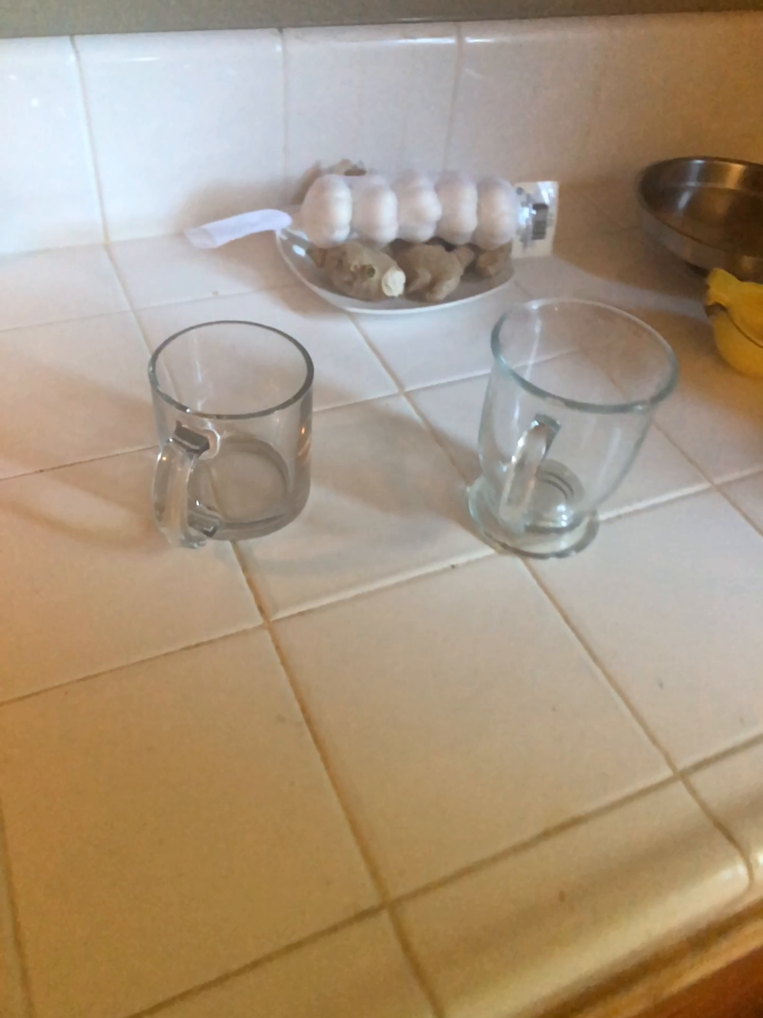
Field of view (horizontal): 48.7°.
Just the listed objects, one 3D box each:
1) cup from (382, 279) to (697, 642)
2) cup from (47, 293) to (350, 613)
[{"bbox_3d":[0.081,-0.029,0.452,0.090,0.119,0.131,32,51,22],"label":"cup"},{"bbox_3d":[-0.091,-0.035,0.459,0.090,0.089,0.131,24,48,16],"label":"cup"}]
